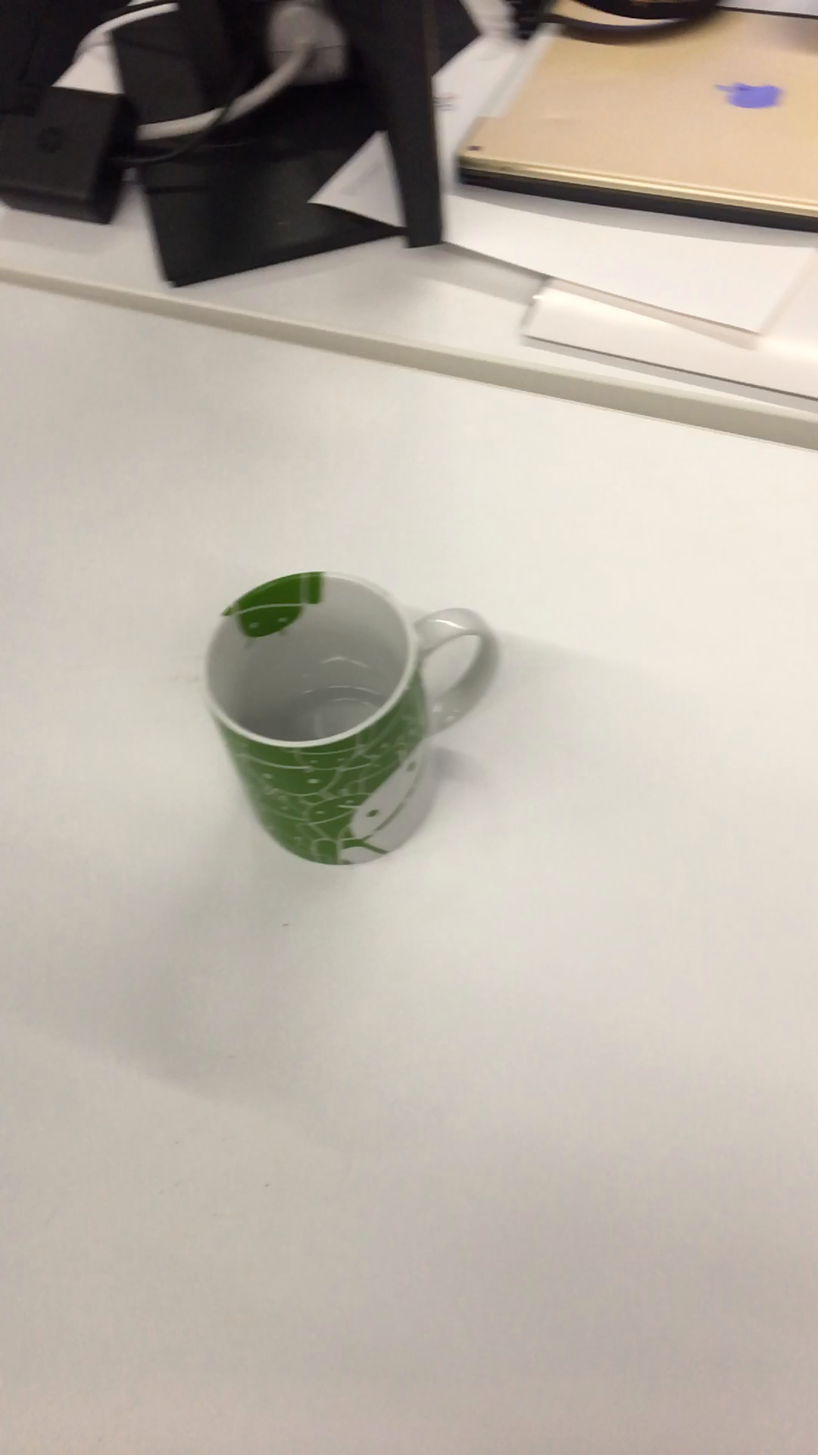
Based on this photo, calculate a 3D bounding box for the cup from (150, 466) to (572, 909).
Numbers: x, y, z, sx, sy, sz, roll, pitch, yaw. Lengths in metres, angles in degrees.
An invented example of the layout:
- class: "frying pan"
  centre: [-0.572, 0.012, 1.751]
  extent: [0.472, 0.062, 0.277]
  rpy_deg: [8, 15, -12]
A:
- class: "cup"
  centre: [-0.014, -0.015, 0.463]
  extent: [0.120, 0.090, 0.090]
  rpy_deg: [-29, 58, -13]
